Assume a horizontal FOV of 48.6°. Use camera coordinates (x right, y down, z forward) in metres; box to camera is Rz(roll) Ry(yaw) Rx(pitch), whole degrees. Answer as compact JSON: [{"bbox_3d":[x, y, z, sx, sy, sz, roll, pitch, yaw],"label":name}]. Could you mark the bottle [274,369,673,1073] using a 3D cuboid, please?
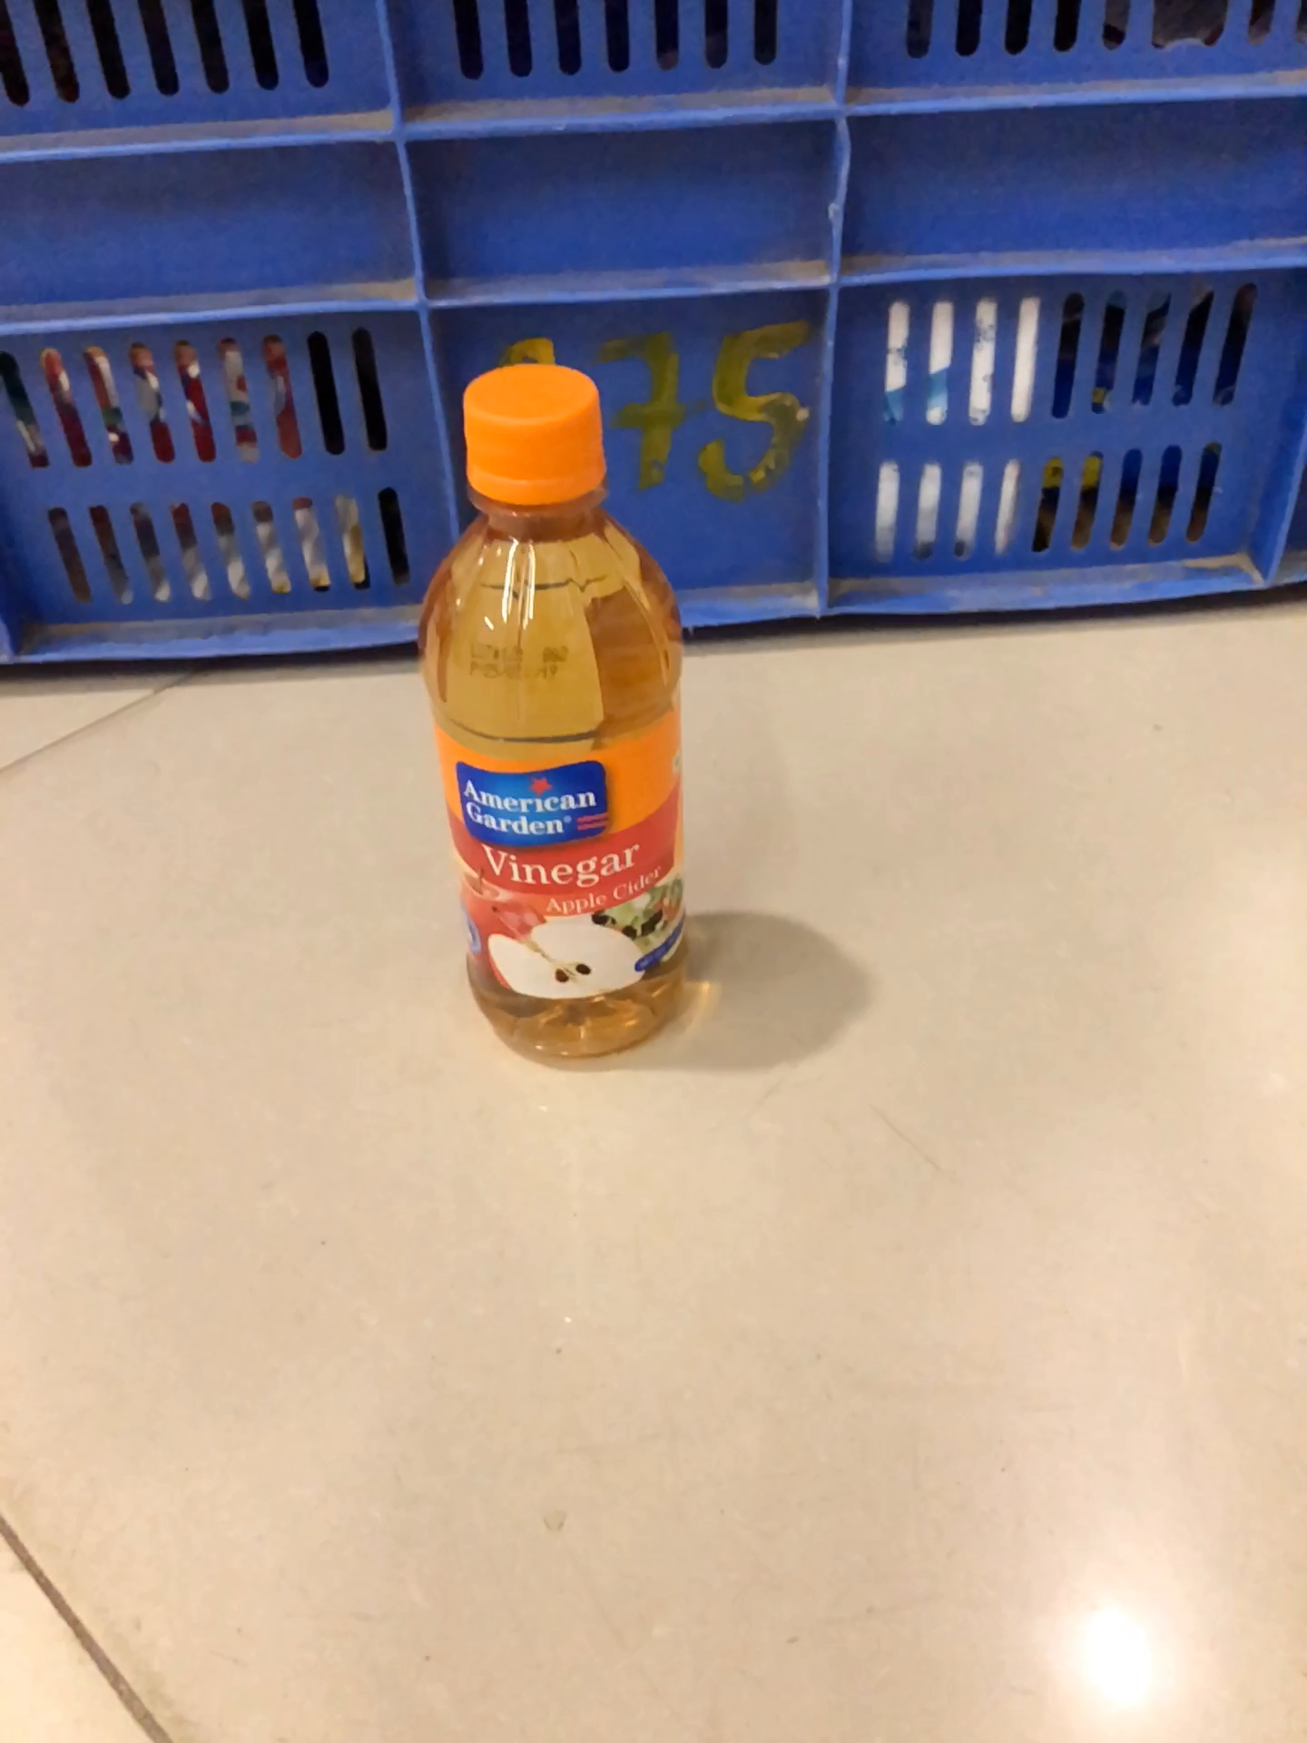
[{"bbox_3d":[-0.036,-0.033,0.374,0.070,0.169,0.071,-2,40,2],"label":"bottle"}]
